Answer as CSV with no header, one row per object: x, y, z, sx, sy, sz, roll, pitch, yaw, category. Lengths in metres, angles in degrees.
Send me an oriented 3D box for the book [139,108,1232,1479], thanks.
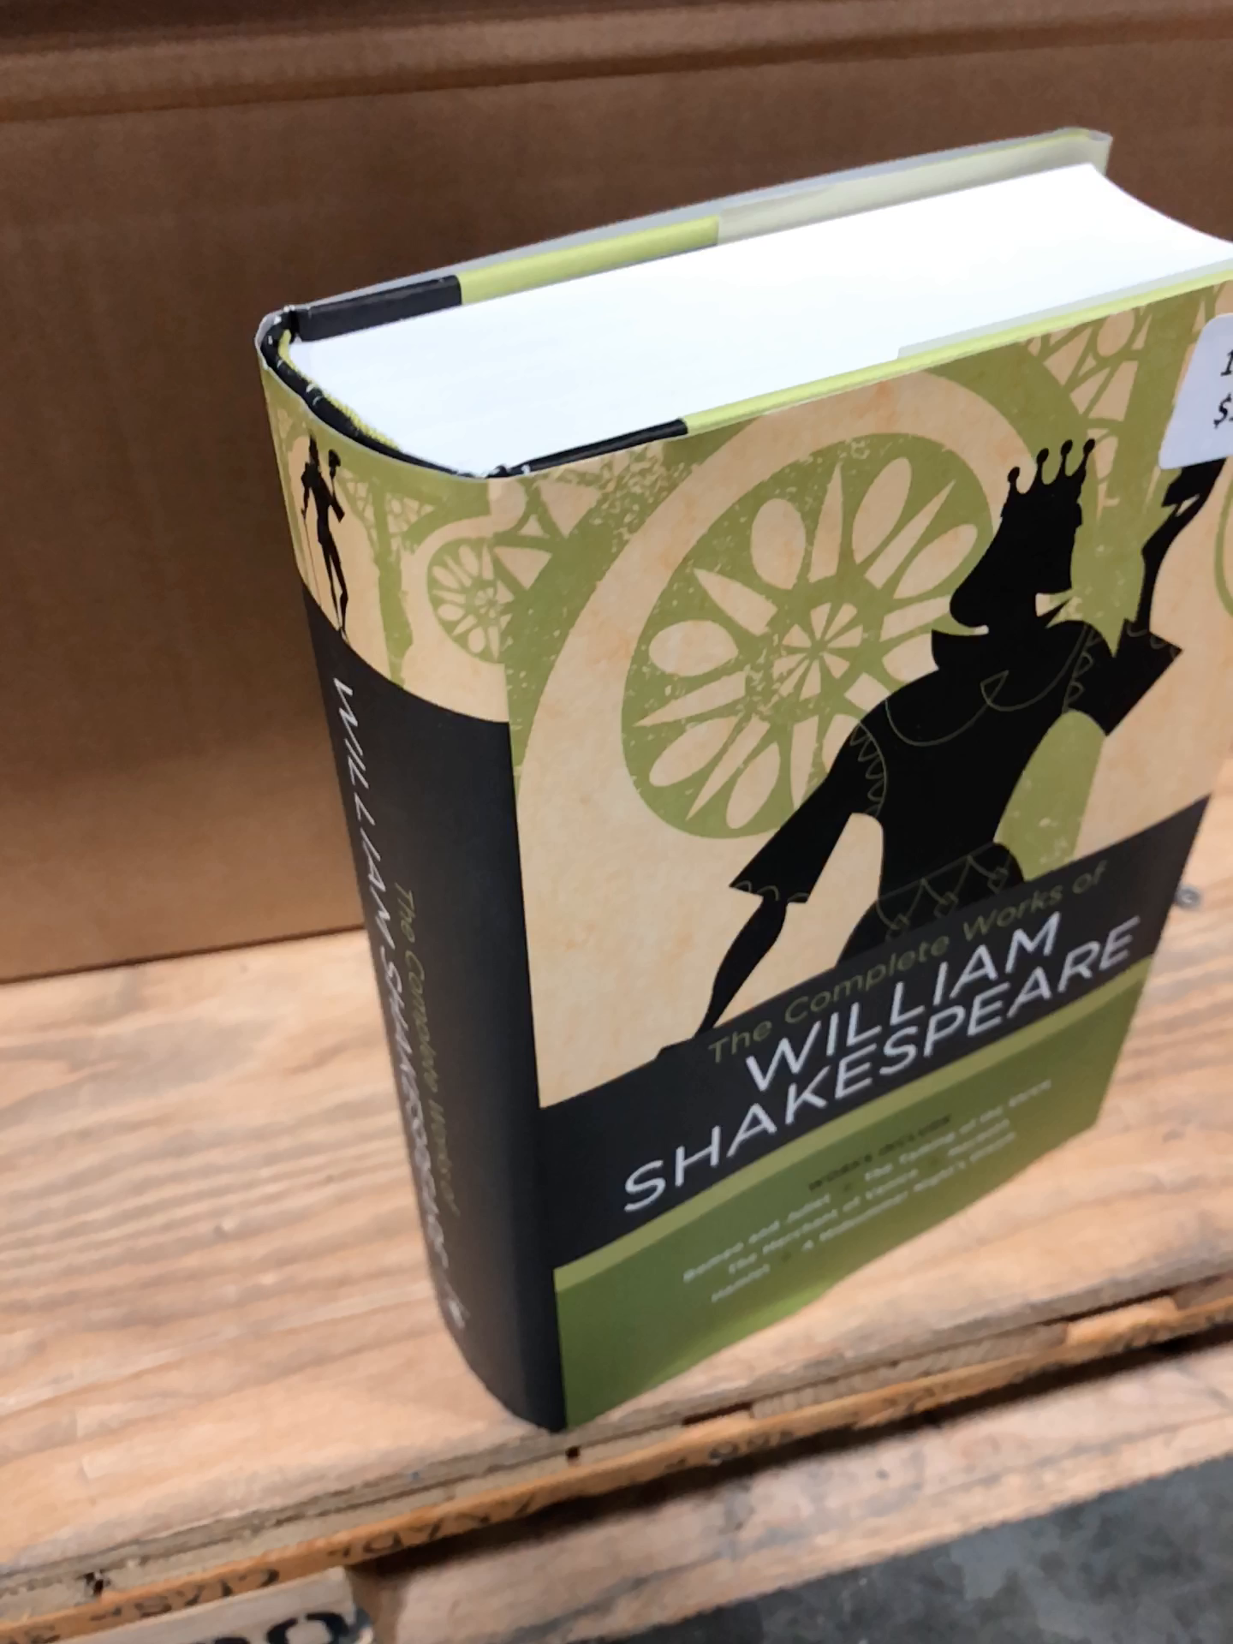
0.029,0.003,0.292,0.181,0.239,0.080,-22,46,-22,book
